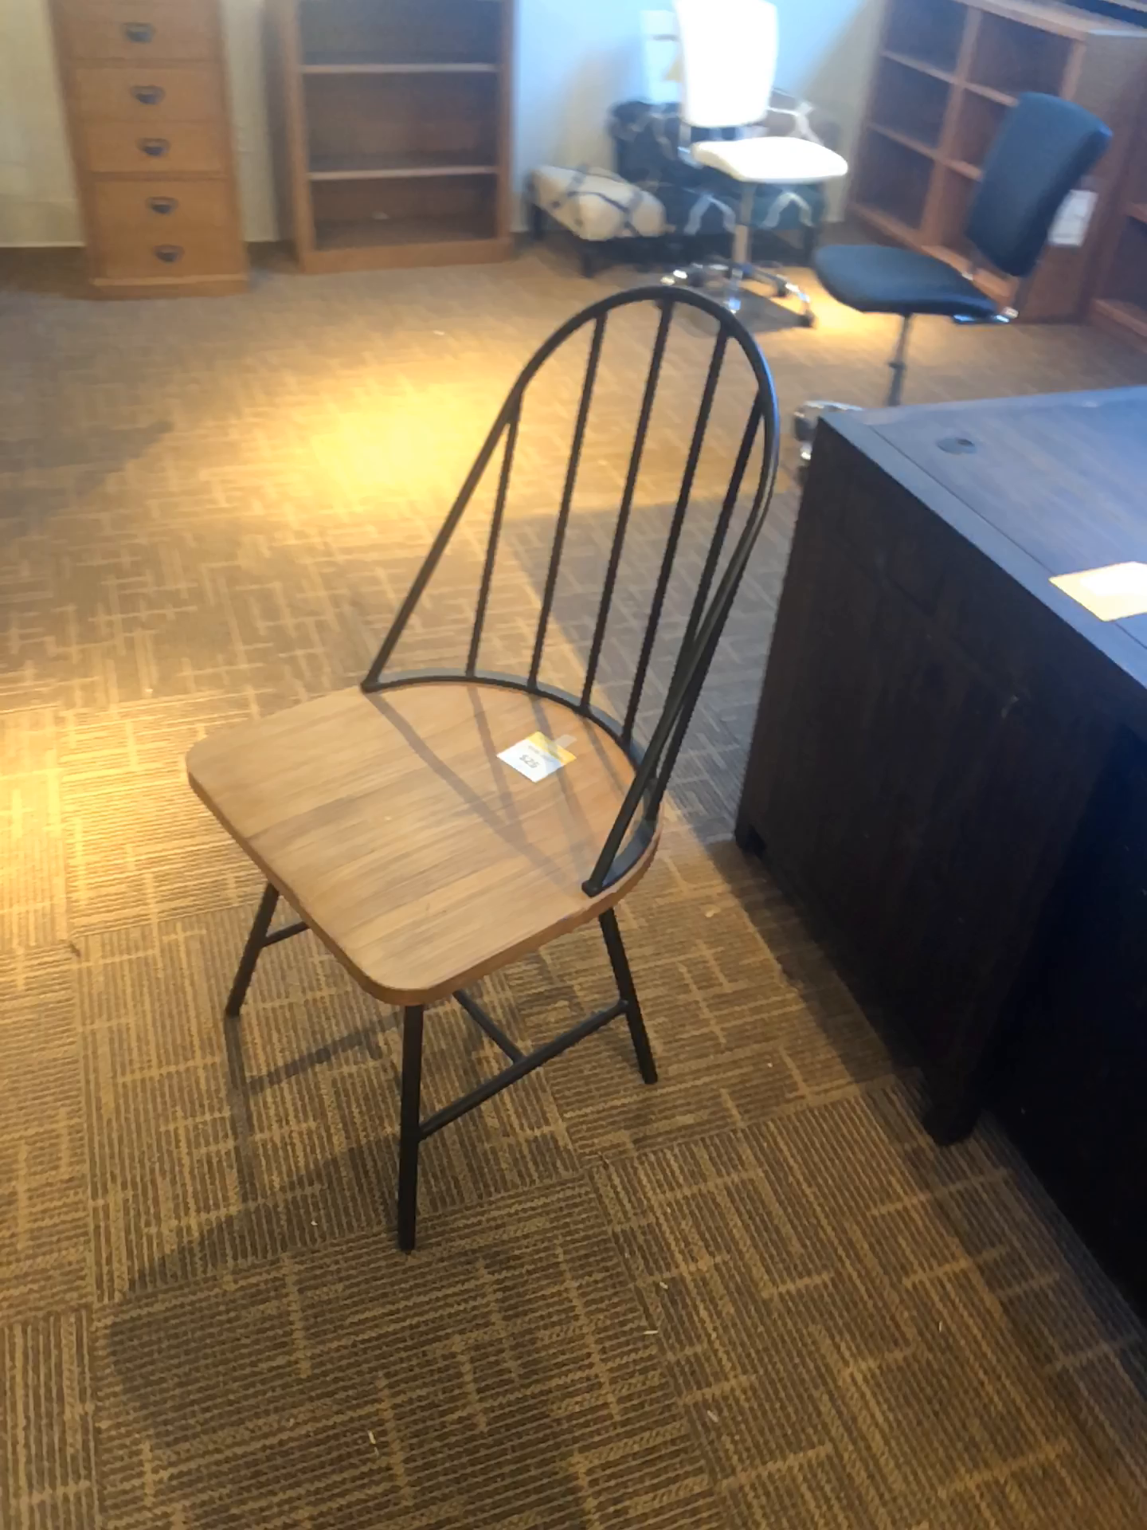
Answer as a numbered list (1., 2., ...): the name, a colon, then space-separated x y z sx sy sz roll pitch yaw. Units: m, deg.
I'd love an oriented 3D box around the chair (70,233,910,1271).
1. chair: -0.106 -0.027 1.465 0.600 0.929 0.514 -24 46 -32
